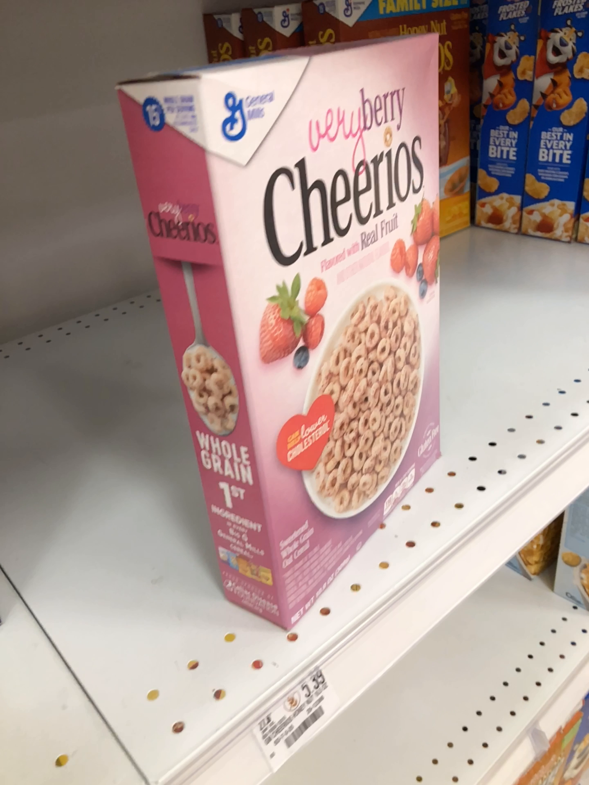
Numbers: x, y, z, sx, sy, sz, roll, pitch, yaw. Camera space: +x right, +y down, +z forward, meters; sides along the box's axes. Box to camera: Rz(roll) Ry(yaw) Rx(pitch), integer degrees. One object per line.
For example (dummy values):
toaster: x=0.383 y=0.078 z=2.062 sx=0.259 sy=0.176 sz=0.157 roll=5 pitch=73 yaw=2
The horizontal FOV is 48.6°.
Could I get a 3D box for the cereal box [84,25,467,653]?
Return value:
cereal box: x=0.018 y=-0.034 z=0.360 sx=0.060 sy=0.279 sz=0.200 roll=17 pitch=37 yaw=33
